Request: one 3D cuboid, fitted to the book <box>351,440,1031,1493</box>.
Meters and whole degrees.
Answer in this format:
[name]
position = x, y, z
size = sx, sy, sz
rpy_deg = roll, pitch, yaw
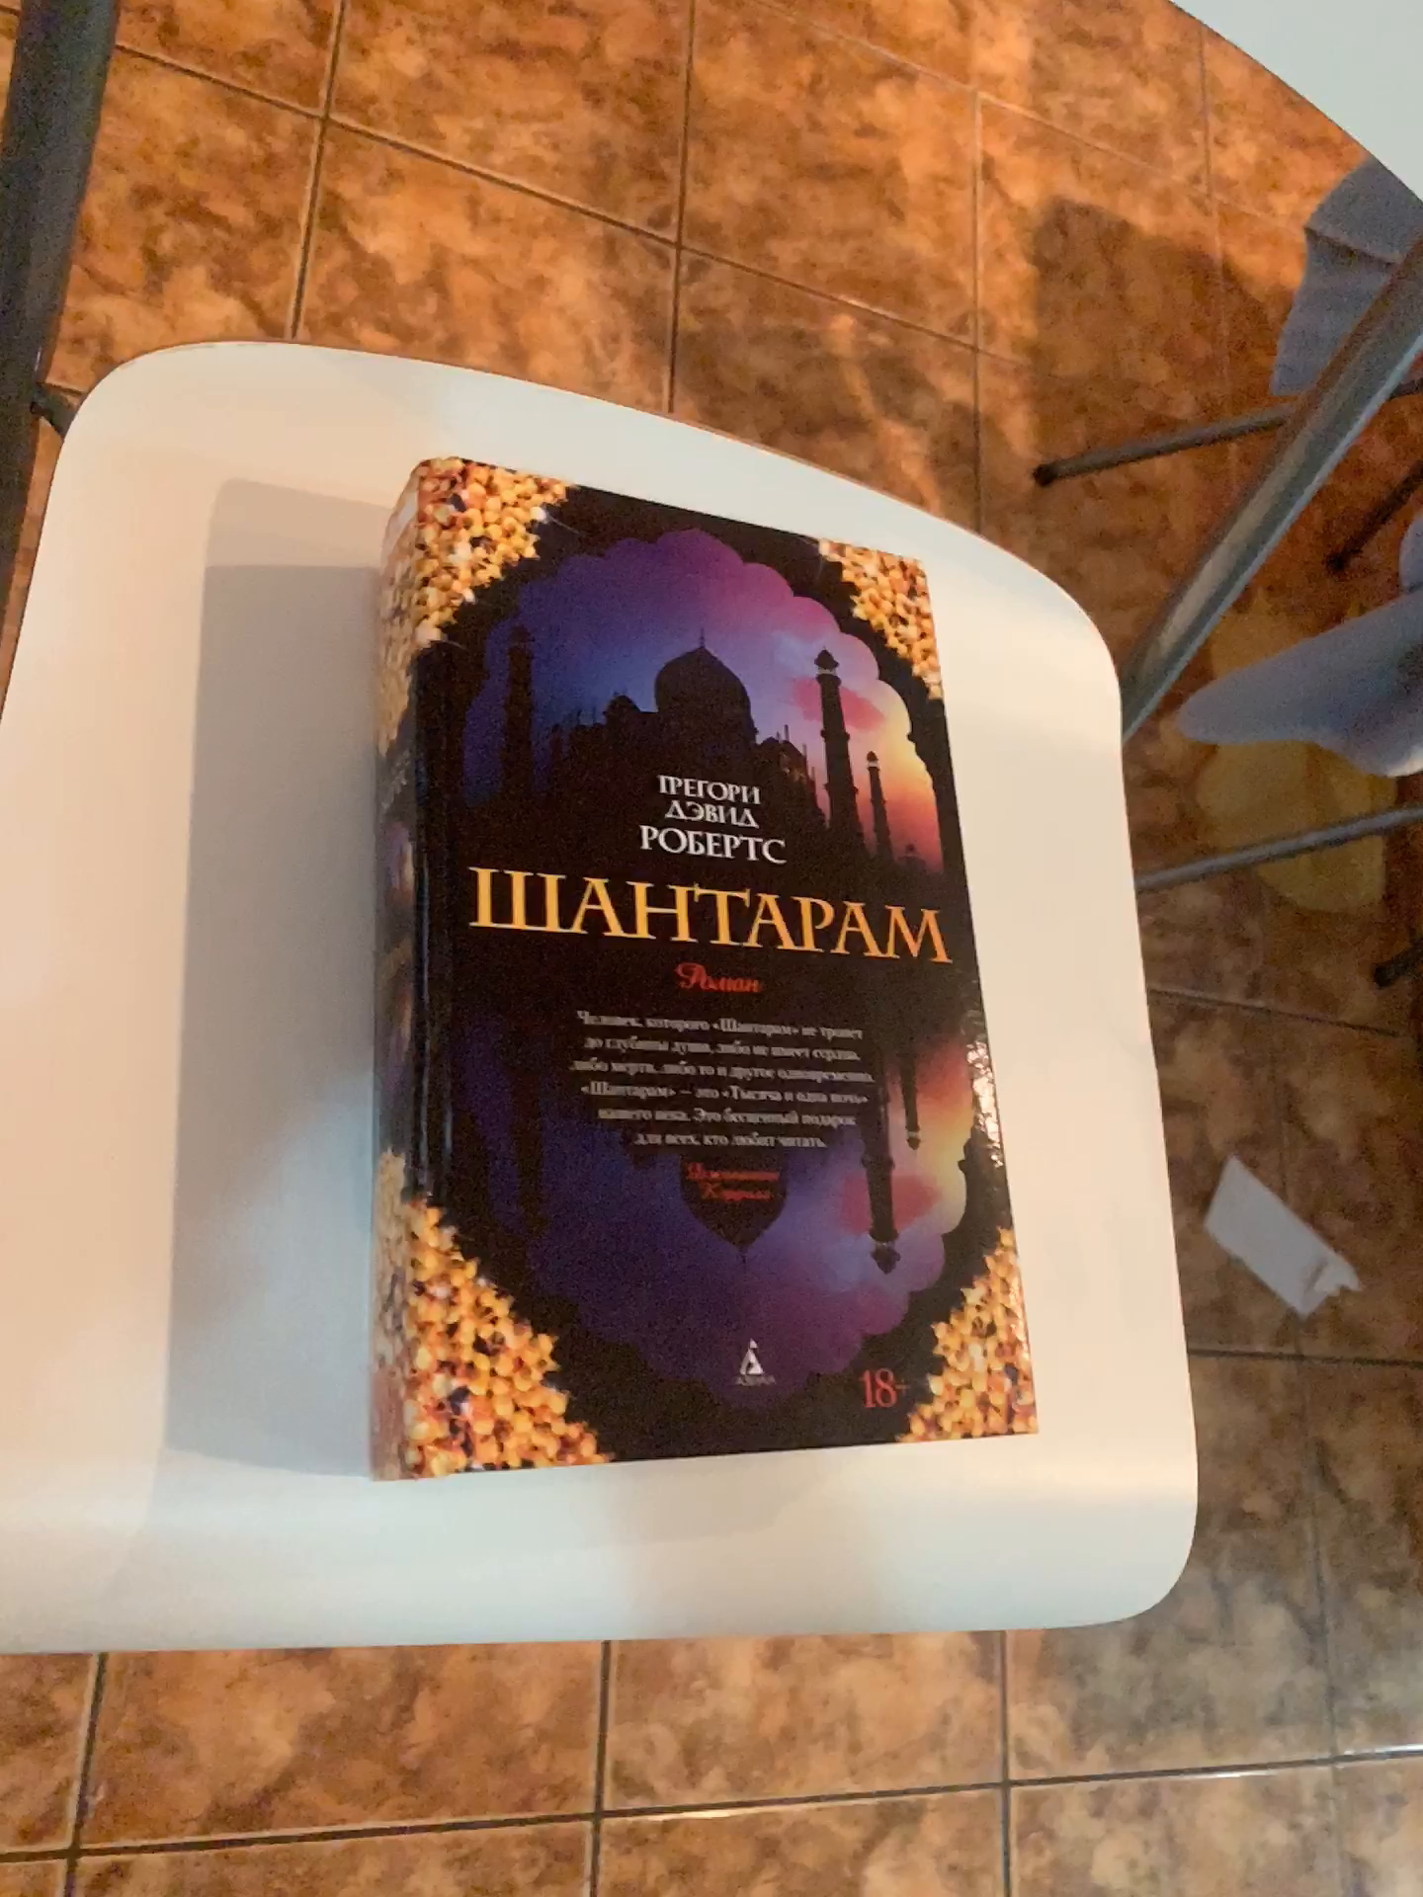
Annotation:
[book]
position = -0.009, 0.002, 0.360
size = 0.145, 0.044, 0.237
rpy_deg = 4, 71, -22
